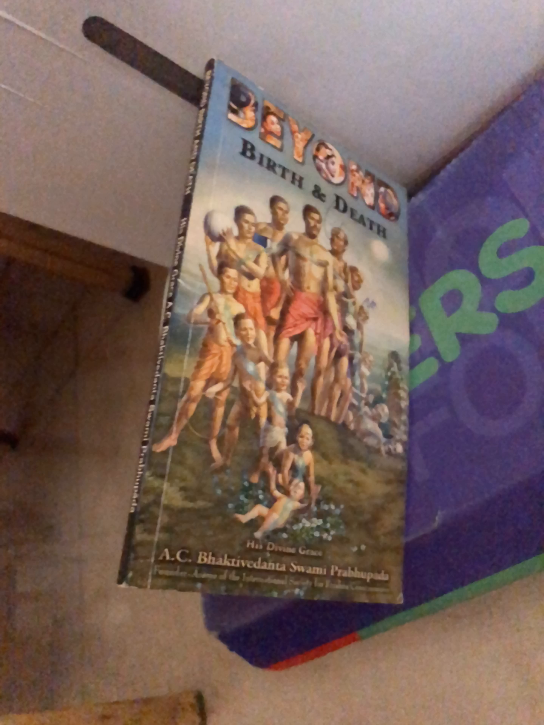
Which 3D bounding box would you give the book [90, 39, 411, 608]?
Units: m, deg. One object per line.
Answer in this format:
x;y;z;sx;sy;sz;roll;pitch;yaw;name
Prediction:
0.008;-0.012;0.235;0.010;0.119;0.190;-15;61;48;book
